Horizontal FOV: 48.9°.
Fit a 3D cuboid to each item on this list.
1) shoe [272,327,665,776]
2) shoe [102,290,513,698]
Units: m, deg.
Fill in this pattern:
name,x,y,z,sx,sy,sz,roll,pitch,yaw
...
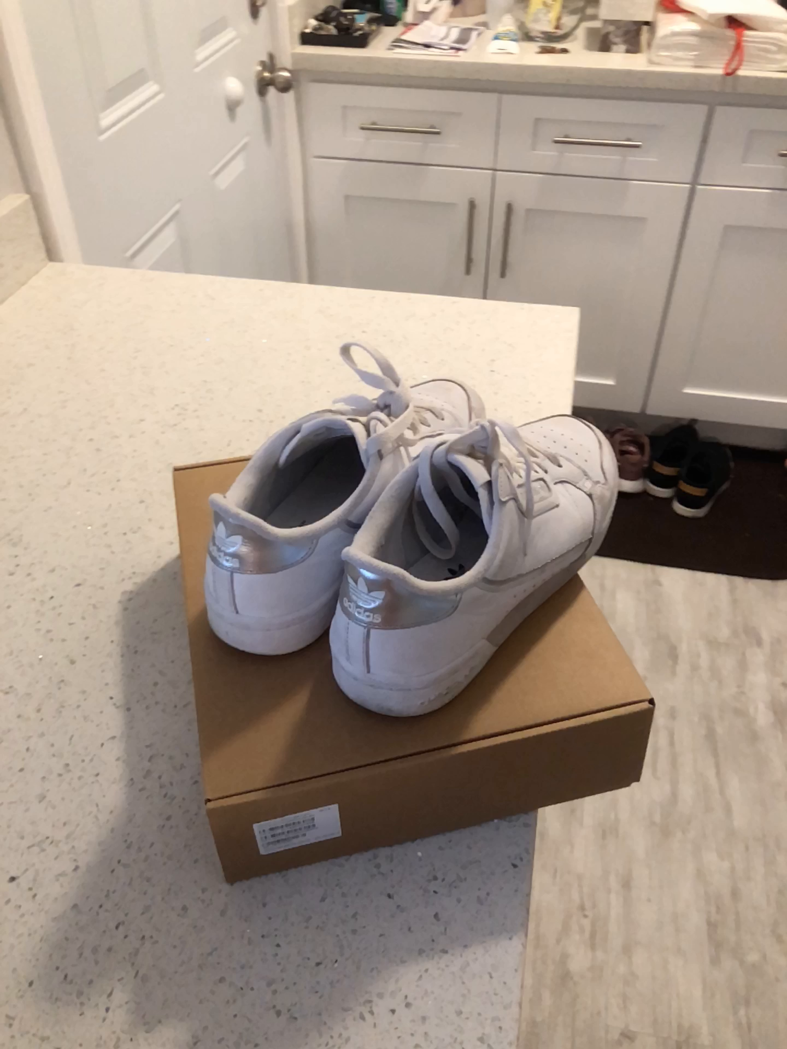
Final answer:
name,x,y,z,sx,sy,sz,roll,pitch,yaw
shoe,0.056,-0.003,0.515,0.107,0.100,0.268,22,45,23
shoe,-0.035,-0.037,0.546,0.107,0.100,0.268,22,45,23
